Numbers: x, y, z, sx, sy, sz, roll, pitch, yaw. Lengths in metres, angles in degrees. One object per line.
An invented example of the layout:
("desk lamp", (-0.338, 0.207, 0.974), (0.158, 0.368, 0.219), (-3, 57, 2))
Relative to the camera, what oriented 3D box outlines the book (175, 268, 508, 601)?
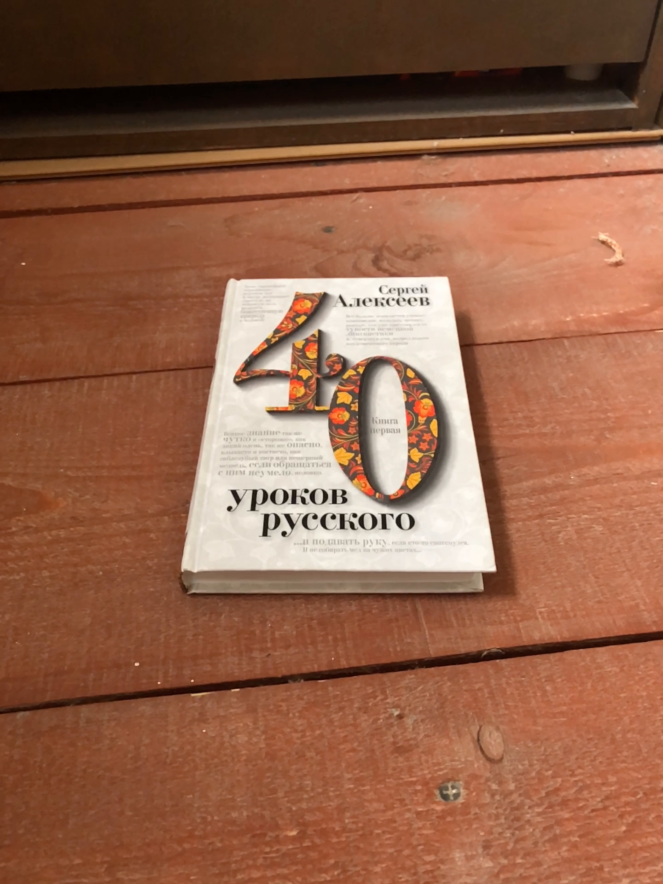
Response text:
("book", (0.004, -0.016, 0.376), (0.135, 0.030, 0.201), (0, 49, 0))
